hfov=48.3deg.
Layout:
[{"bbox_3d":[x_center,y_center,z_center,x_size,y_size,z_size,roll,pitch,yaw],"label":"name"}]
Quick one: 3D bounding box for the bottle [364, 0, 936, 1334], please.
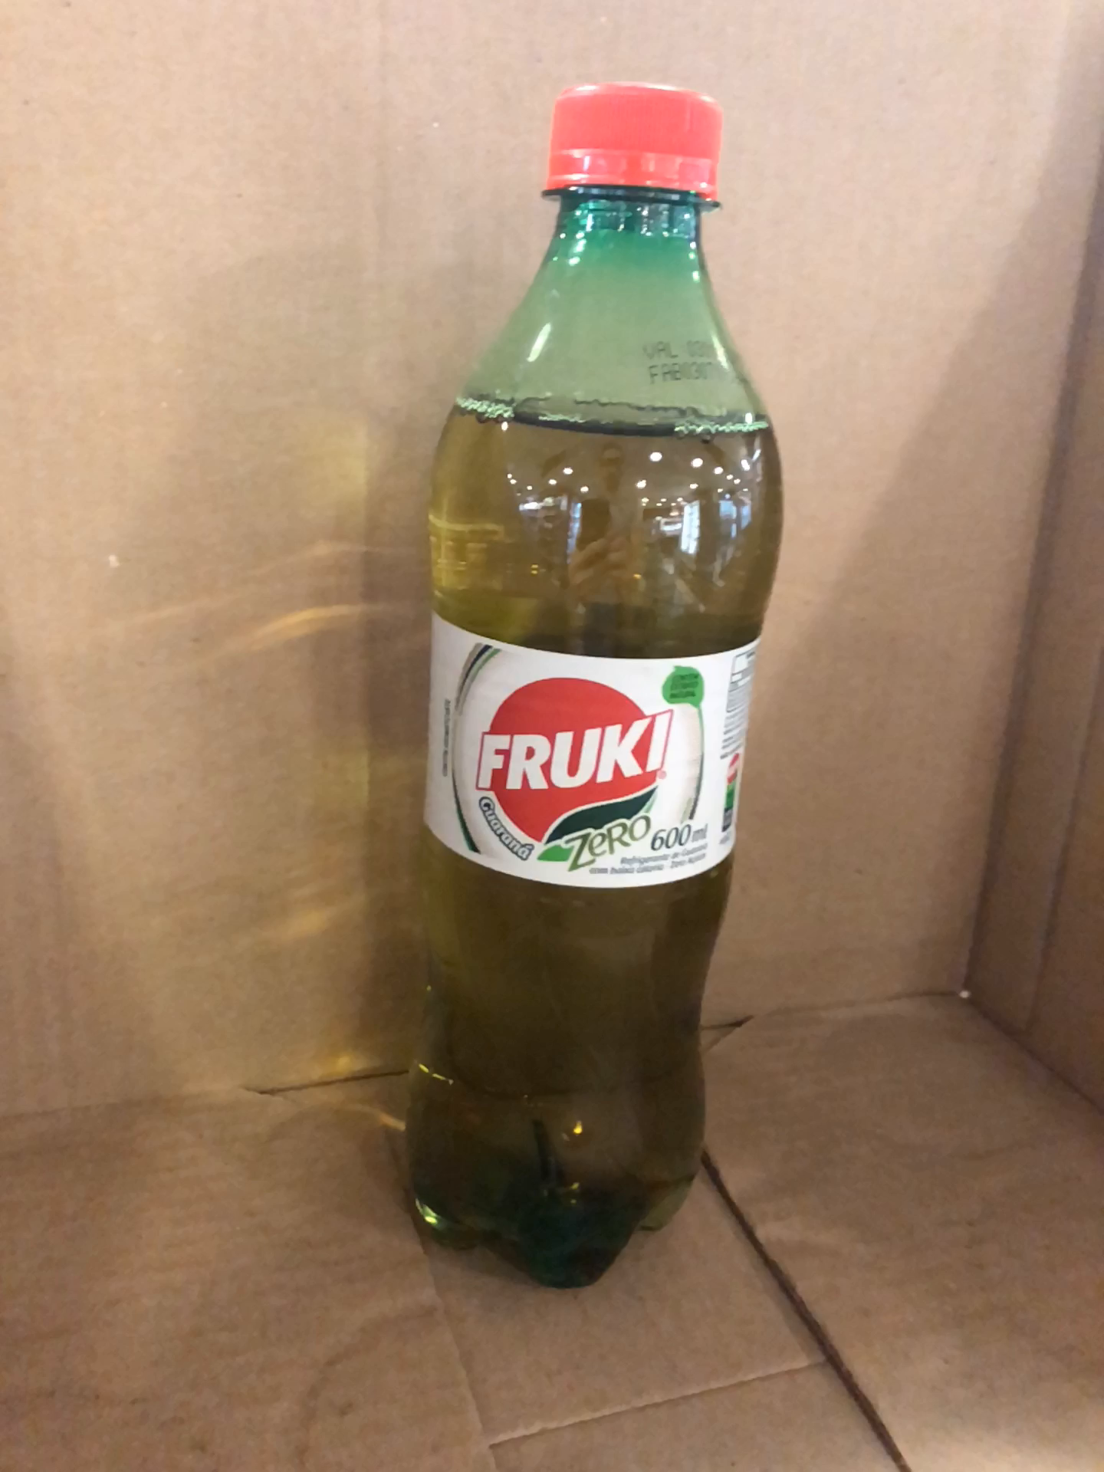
[{"bbox_3d":[0.007,-0.005,0.252,0.080,0.239,0.080,3,18,-1],"label":"bottle"}]
